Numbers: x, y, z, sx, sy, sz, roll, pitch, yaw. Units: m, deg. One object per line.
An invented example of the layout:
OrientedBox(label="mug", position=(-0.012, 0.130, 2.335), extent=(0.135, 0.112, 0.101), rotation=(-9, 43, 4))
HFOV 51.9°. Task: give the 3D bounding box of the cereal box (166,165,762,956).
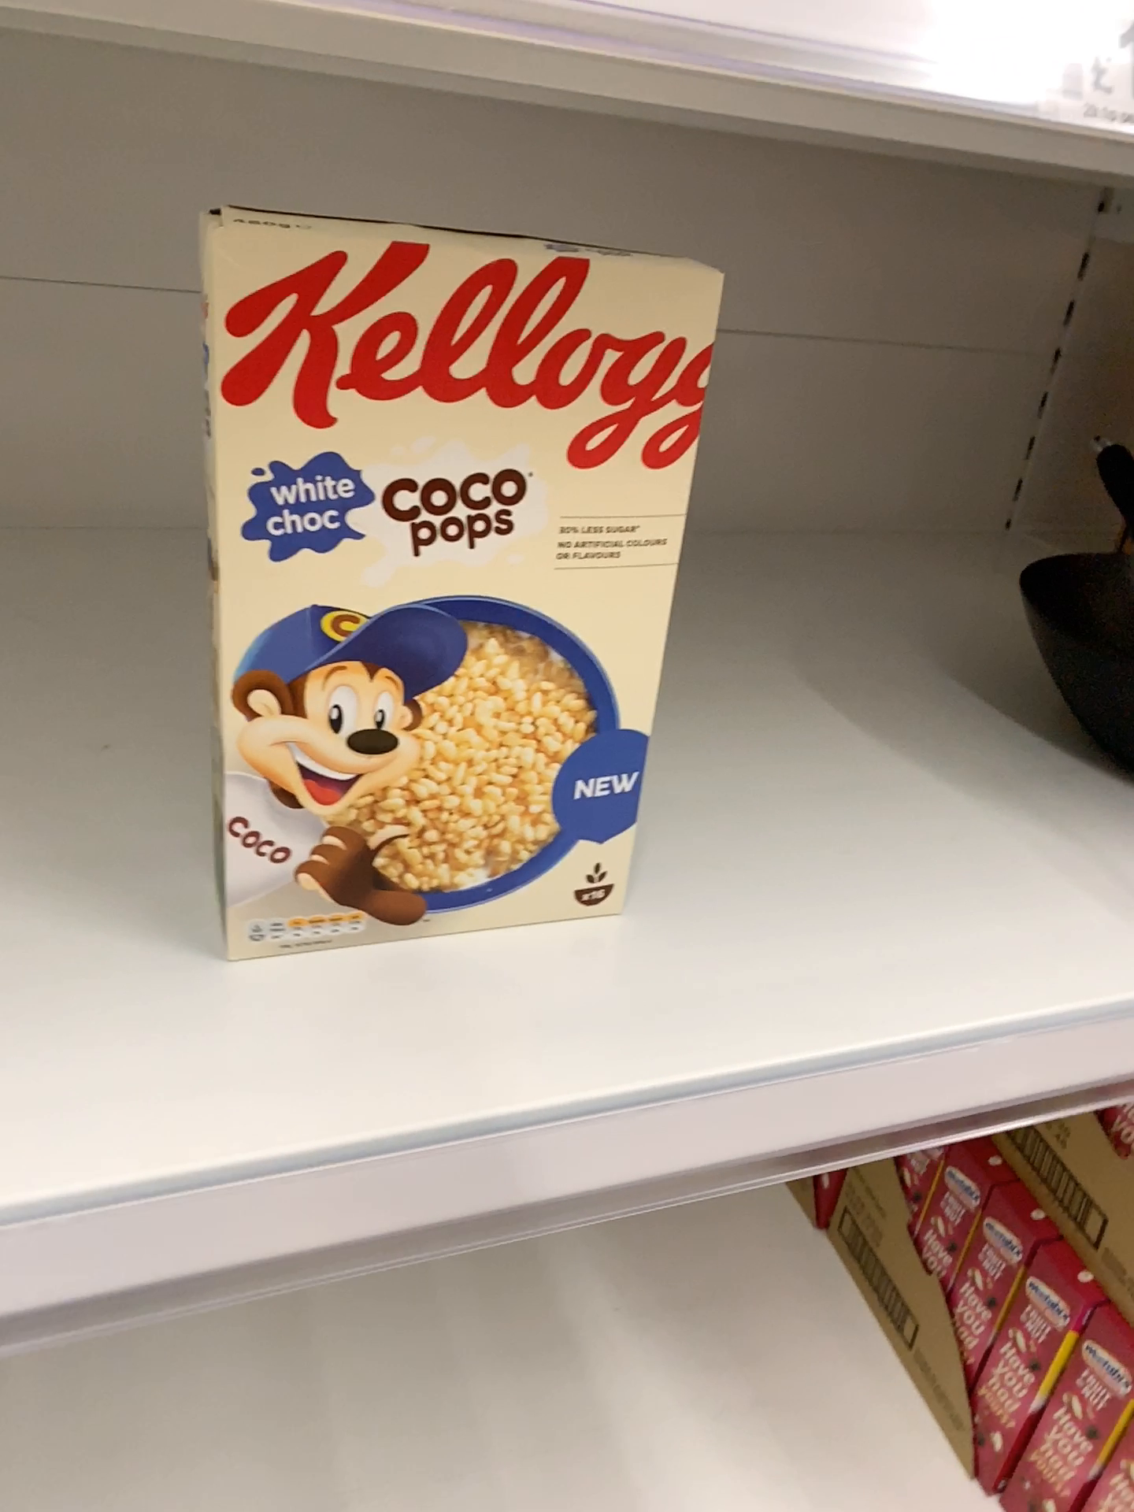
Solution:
OrientedBox(label="cereal box", position=(-0.052, -0.072, 0.495), extent=(0.210, 0.297, 0.070), rotation=(-3, 27, -21))
